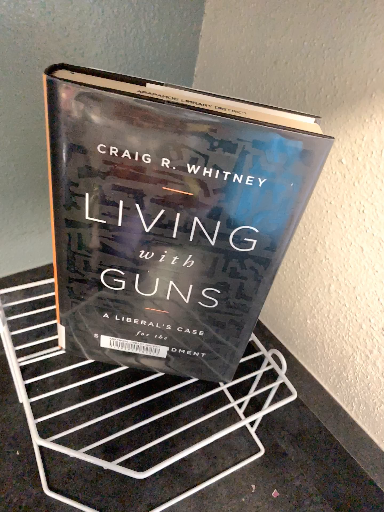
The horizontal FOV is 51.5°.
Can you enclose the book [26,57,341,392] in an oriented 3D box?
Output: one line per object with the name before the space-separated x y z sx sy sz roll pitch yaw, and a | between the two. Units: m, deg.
book | -0.020 -0.003 0.293 0.171 0.229 0.040 11 34 0
